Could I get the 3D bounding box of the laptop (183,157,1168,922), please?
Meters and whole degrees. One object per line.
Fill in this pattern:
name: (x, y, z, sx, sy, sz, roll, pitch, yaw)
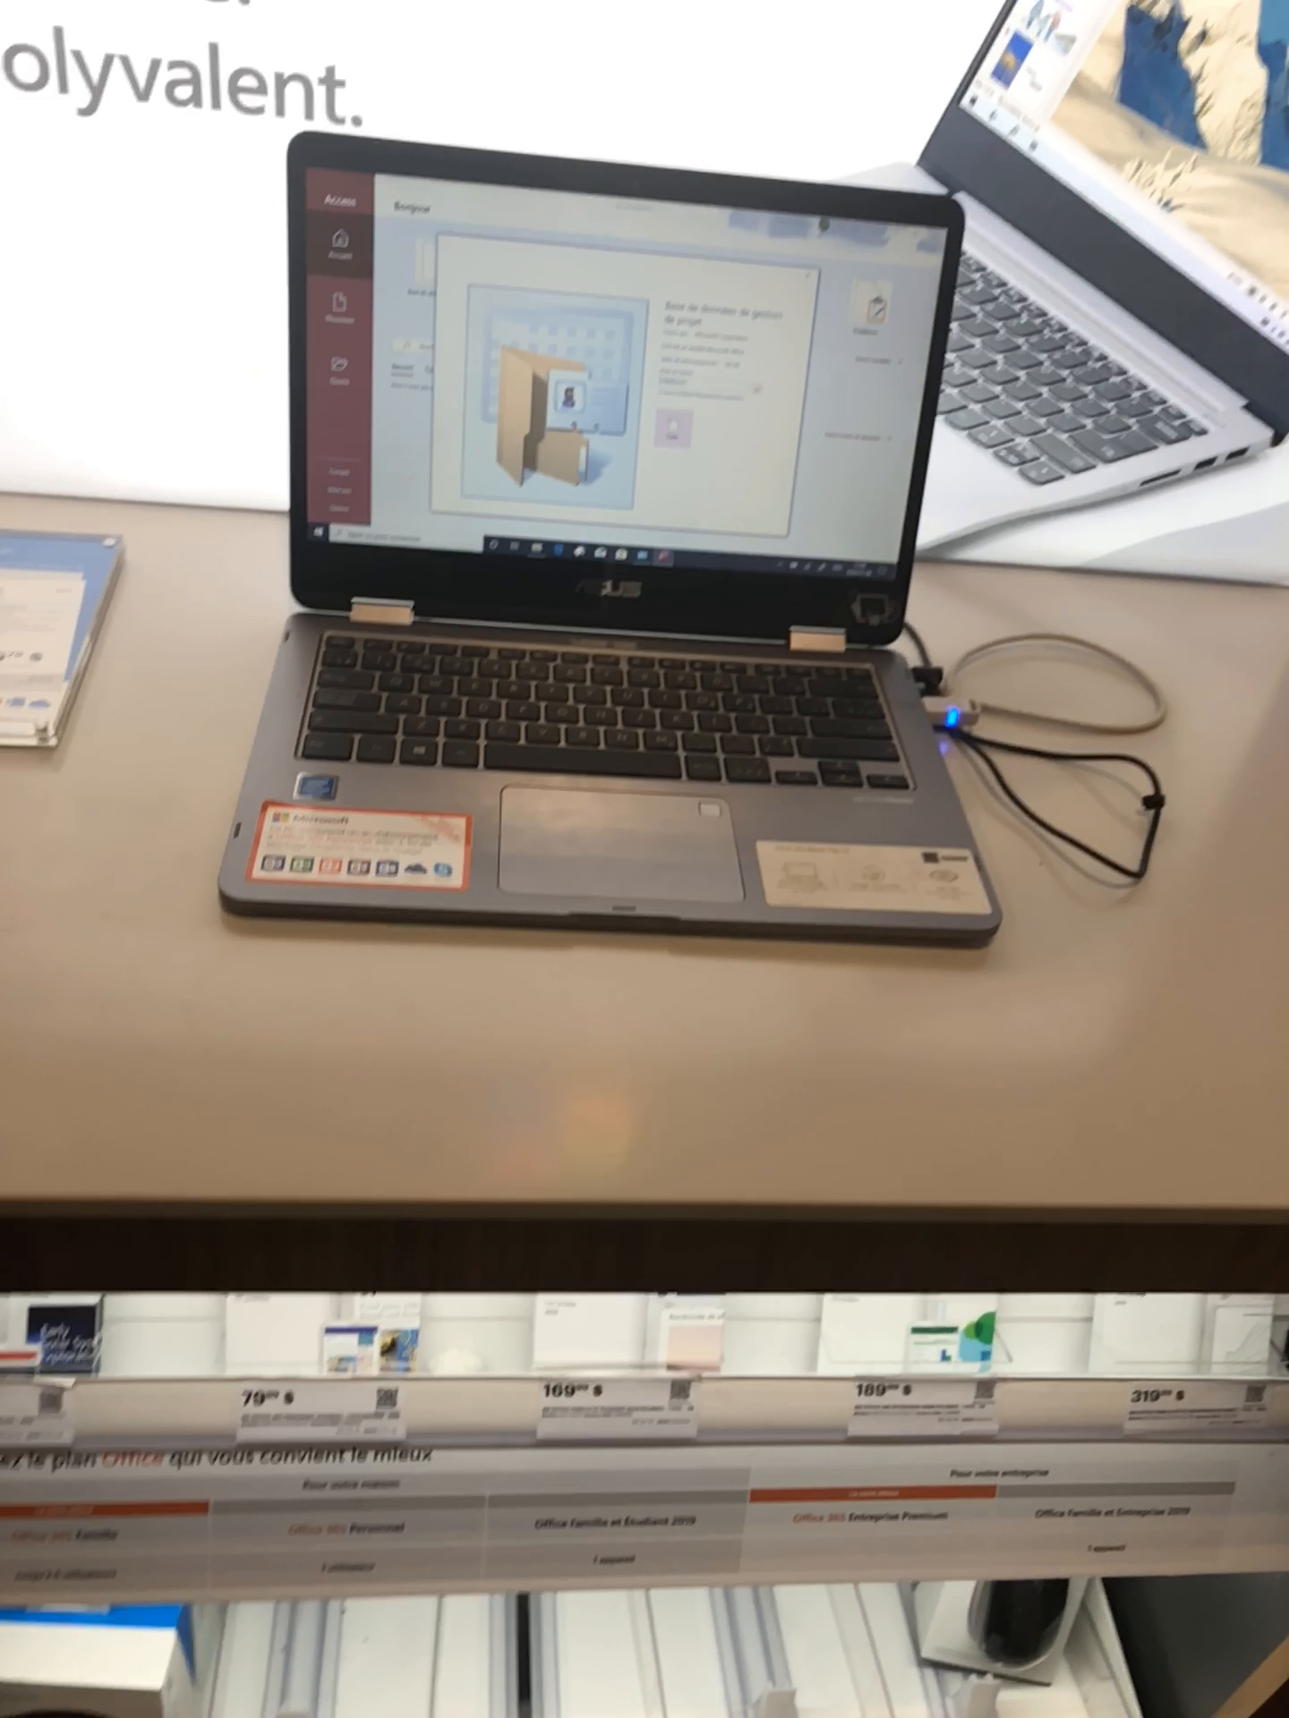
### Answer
laptop: (-0.003, -0.145, 0.618, 0.311, 0.214, 0.274, 3, 38, -7)
